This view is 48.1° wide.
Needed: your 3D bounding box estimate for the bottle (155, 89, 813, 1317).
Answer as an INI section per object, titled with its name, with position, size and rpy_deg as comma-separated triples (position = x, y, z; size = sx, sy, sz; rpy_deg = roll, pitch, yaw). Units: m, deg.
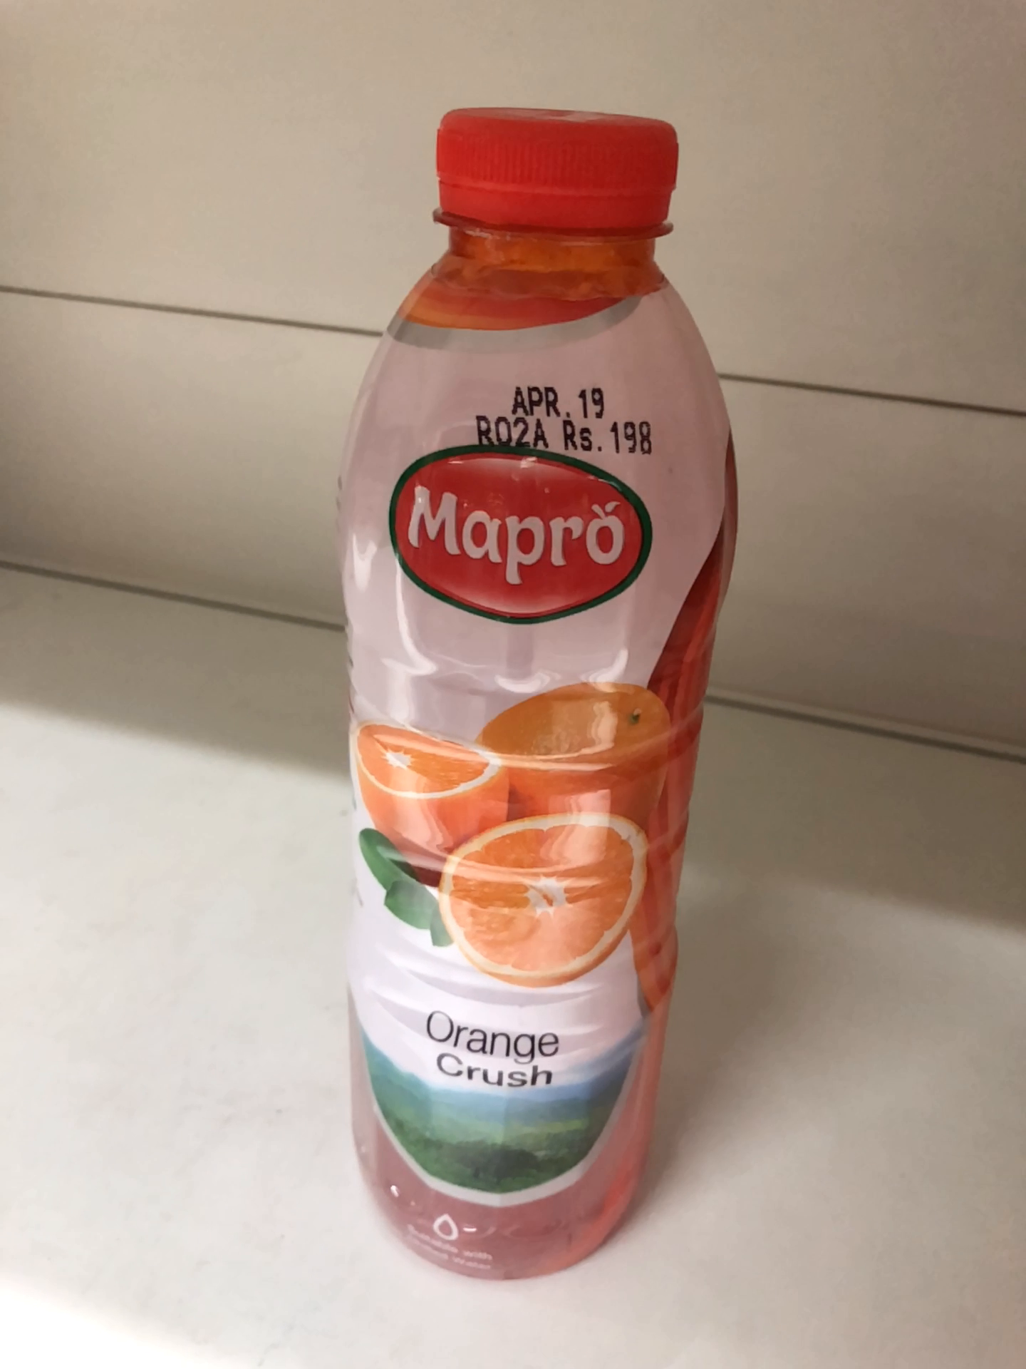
[bottle]
position = -0.006, 0.017, 0.245
size = 0.090, 0.248, 0.070
rpy_deg = 7, 29, 6
